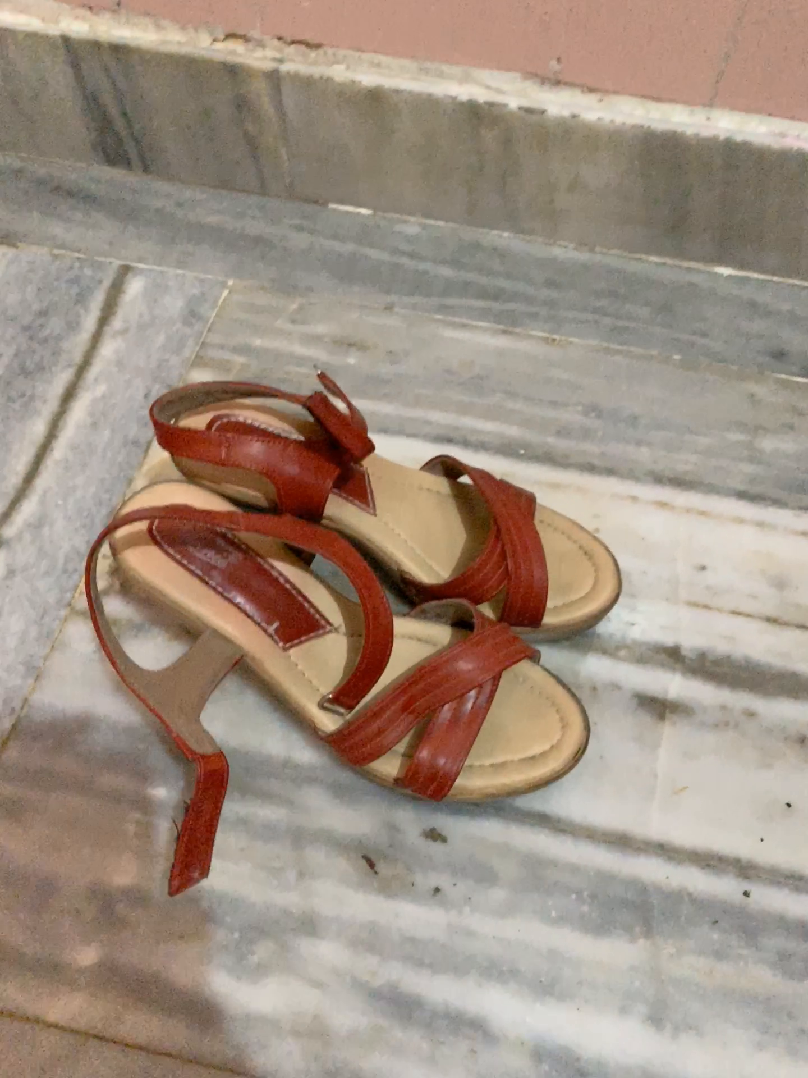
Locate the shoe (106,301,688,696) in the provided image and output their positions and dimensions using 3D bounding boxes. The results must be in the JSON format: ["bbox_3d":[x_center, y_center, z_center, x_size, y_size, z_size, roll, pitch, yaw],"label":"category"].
[{"bbox_3d":[-0.001,-0.020,0.411,0.240,0.100,0.100,15,57,7],"label":"shoe"}]

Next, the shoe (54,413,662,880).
[{"bbox_3d":[-0.022,0.049,0.398,0.240,0.100,0.100,23,59,12],"label":"shoe"}]
